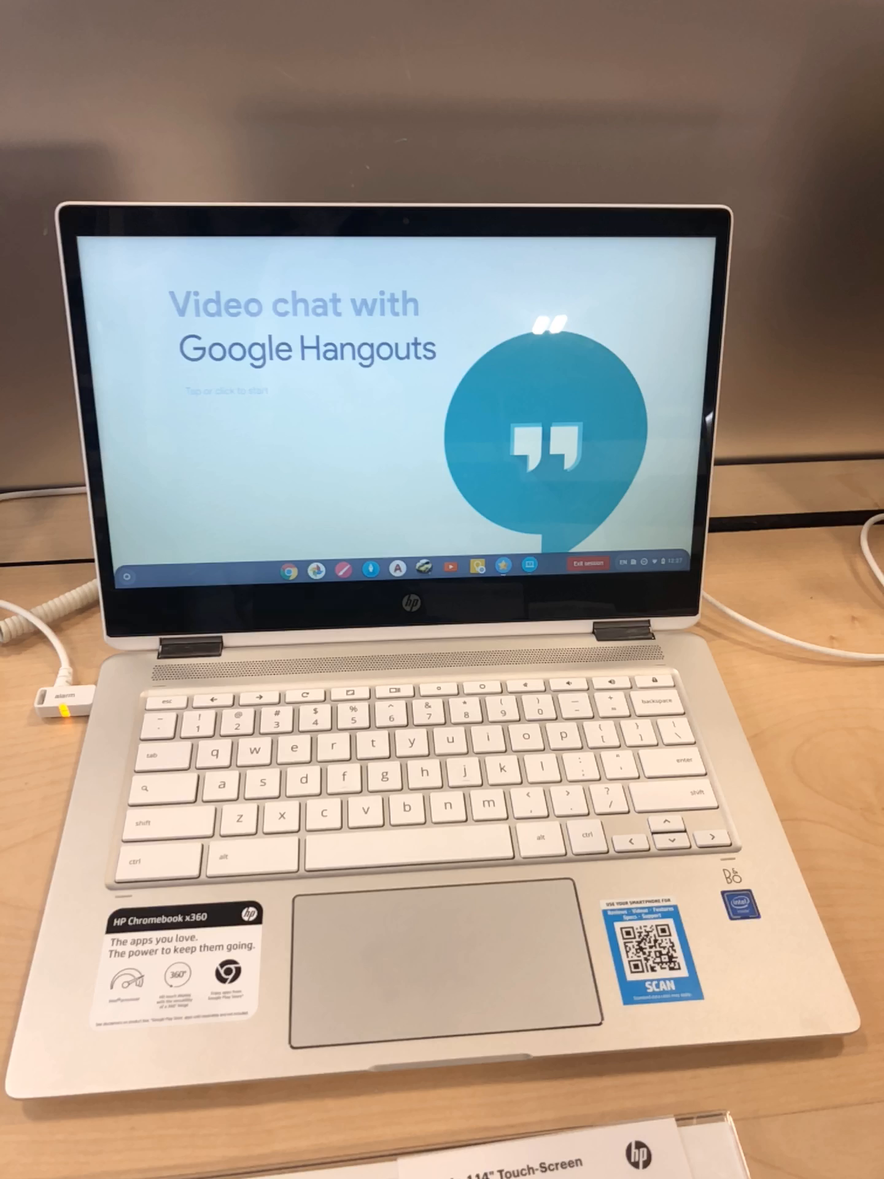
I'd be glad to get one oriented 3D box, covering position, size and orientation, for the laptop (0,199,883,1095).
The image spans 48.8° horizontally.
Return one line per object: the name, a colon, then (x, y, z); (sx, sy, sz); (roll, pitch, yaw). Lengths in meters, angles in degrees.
laptop: (-0.005, -0.003, 0.428); (0.323, 0.205, 0.319); (-2, 43, -6)
